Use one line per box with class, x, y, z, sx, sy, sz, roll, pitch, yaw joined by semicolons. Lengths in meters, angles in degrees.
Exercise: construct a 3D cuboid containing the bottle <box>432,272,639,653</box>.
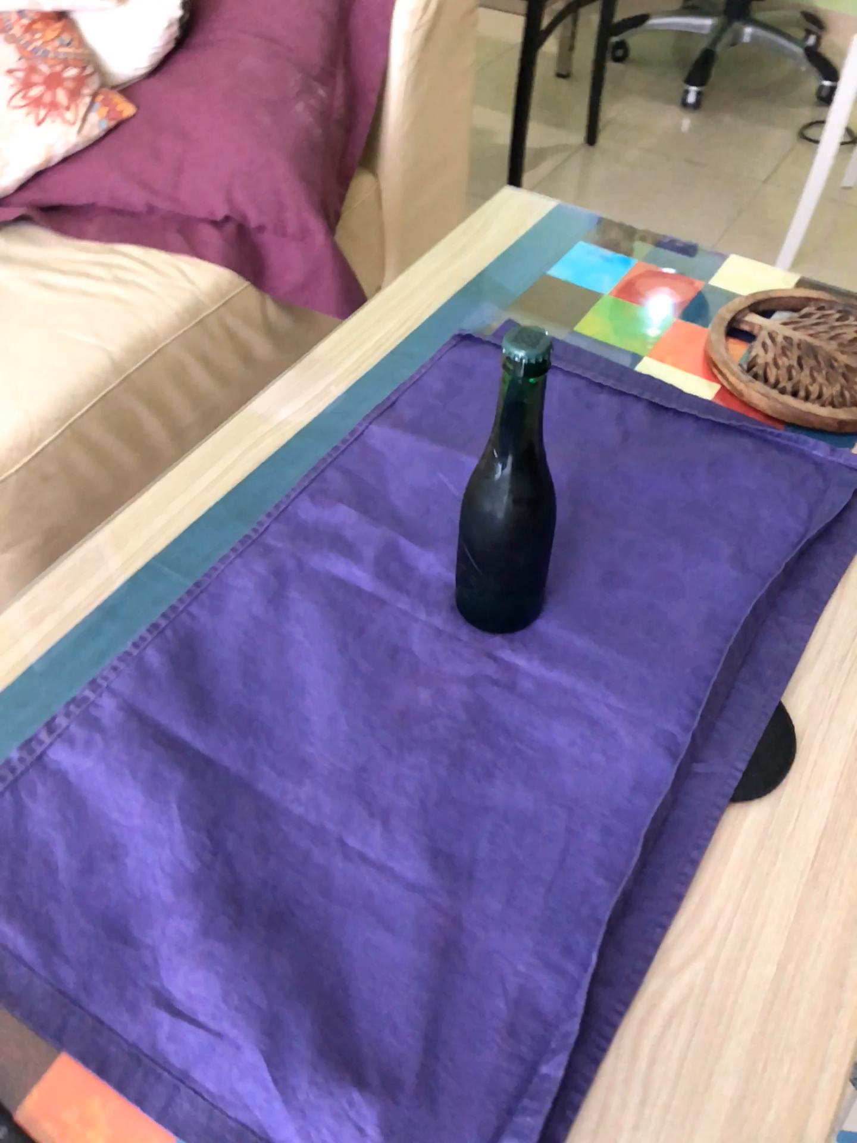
bottle;0.057;-0.058;0.585;0.070;0.219;0.080;-29;55;-24
